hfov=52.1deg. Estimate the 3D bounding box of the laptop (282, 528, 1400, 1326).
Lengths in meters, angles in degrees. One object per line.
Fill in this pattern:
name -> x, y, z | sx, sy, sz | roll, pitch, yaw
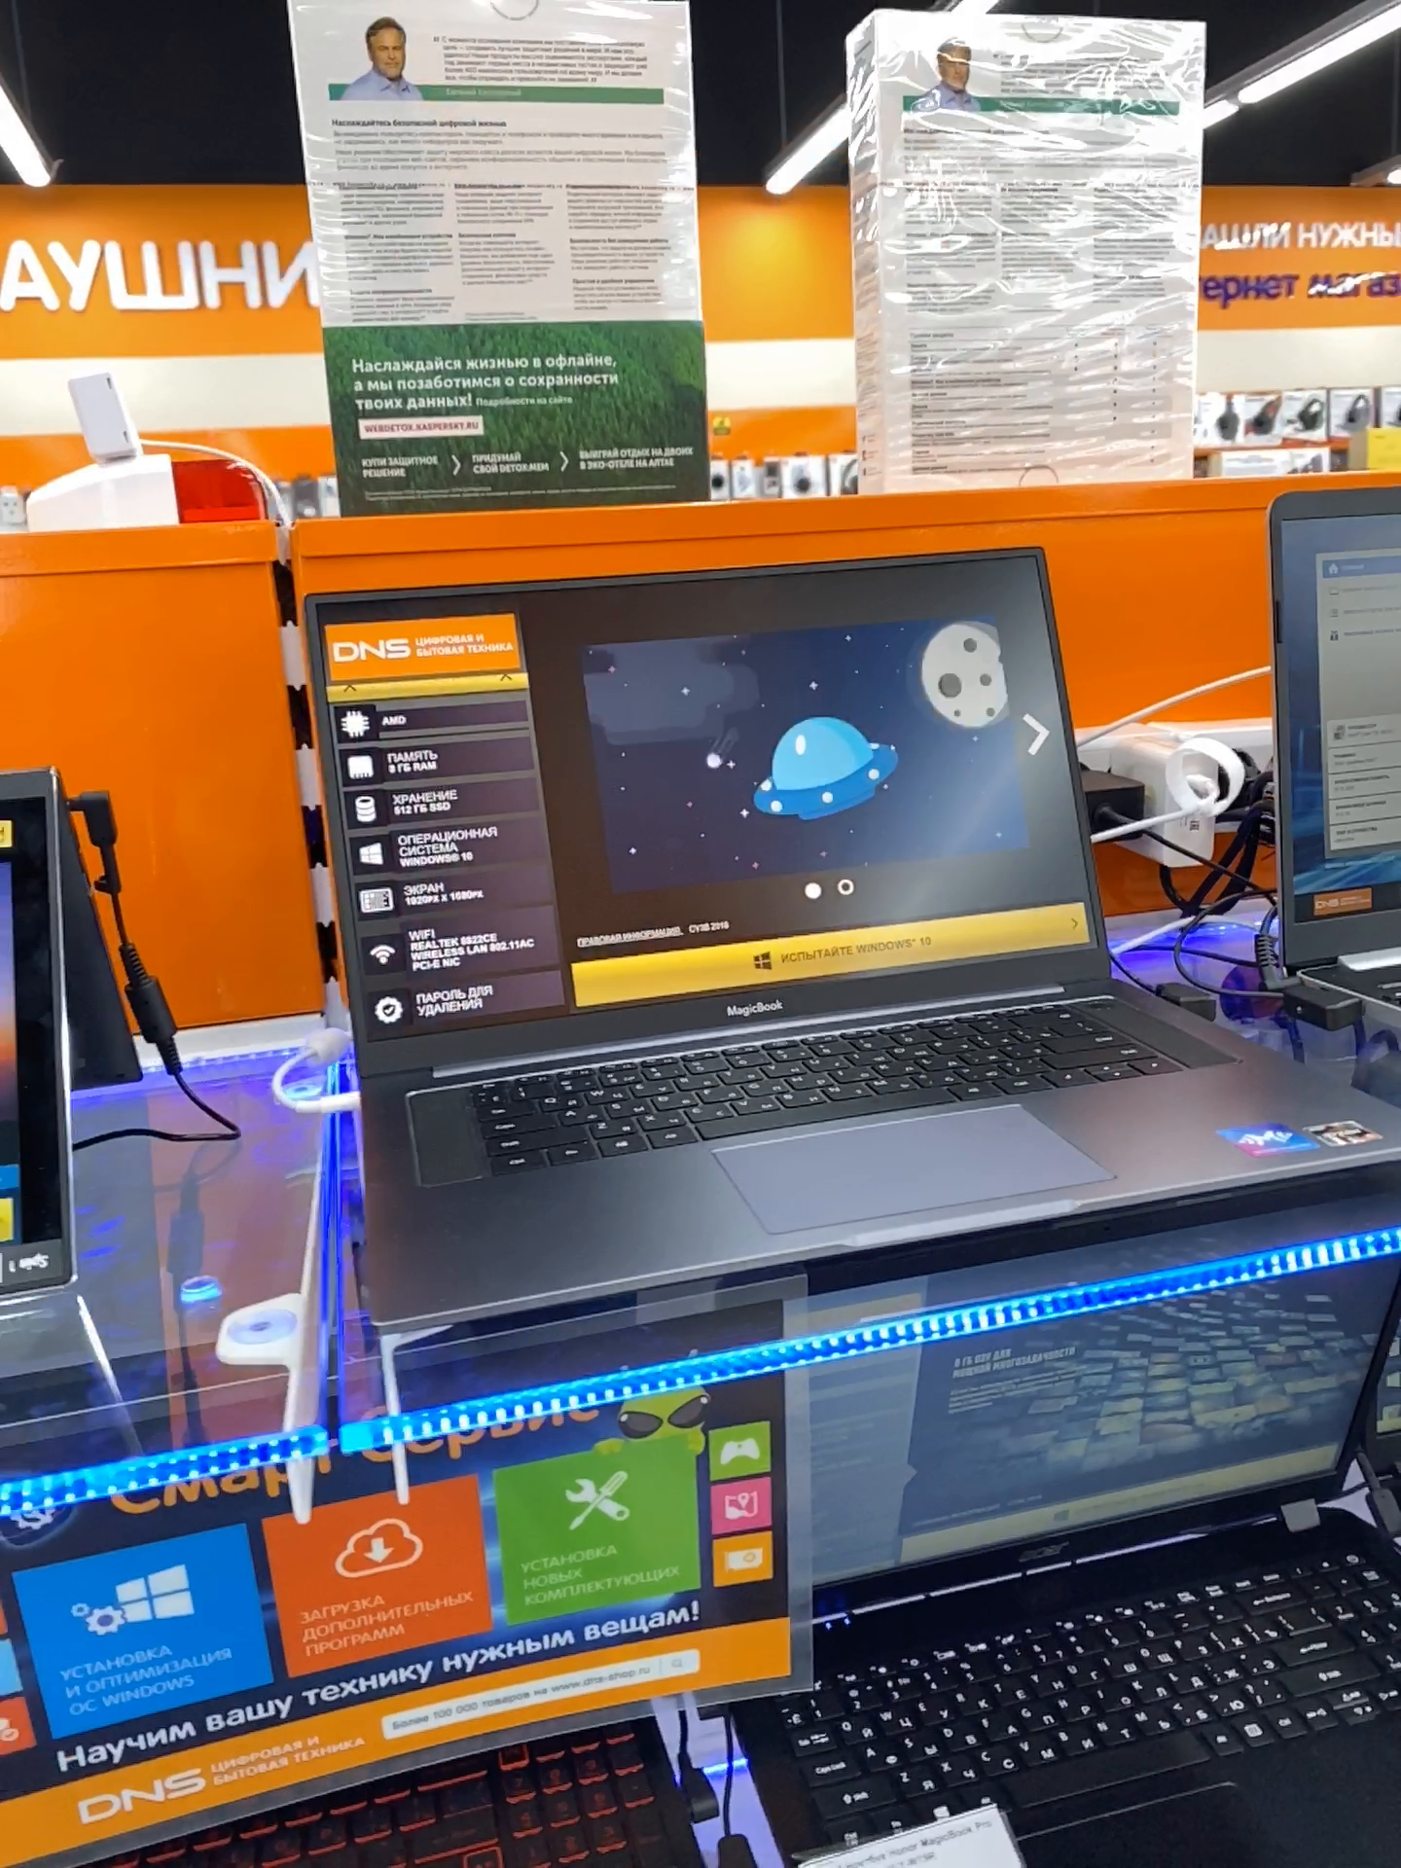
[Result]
laptop -> 0.038, -0.043, 0.583 | 0.368, 0.207, 0.315 | -6, 14, -13
